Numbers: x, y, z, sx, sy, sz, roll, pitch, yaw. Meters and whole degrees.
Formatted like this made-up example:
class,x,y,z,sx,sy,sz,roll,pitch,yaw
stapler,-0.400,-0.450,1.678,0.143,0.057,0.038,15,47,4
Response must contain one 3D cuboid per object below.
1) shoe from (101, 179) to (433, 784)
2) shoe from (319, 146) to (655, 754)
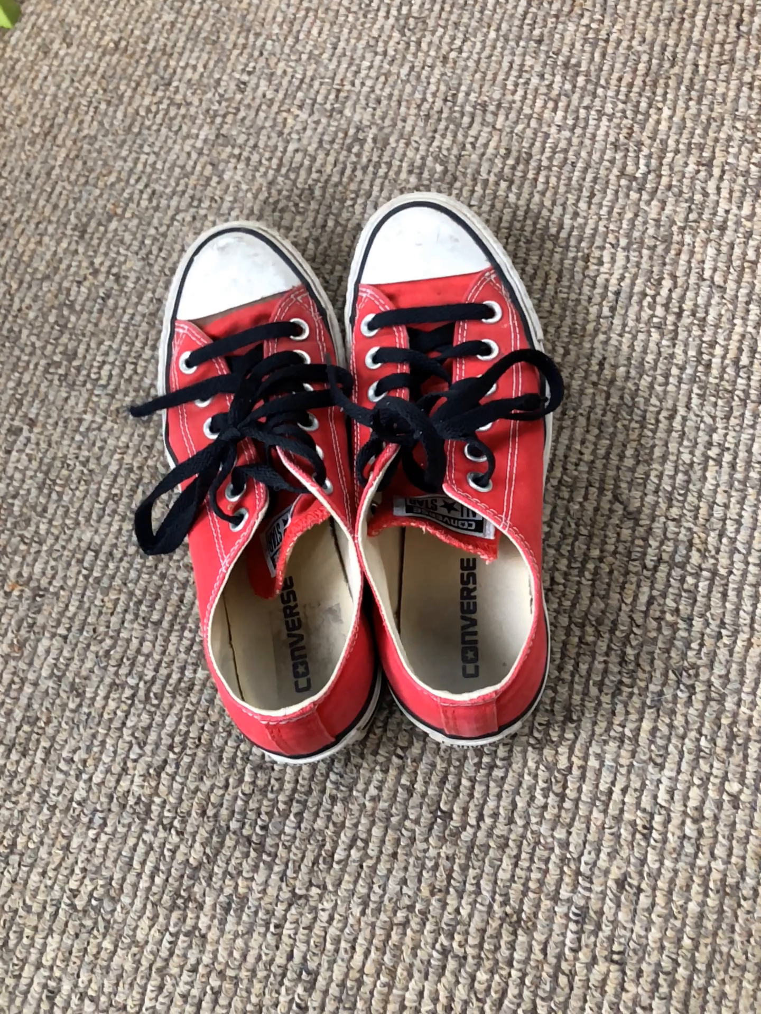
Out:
class,x,y,z,sx,sy,sz,roll,pitch,yaw
shoe,-0.055,-0.011,0.412,0.102,0.097,0.262,-13,71,3
shoe,0.041,-0.025,0.395,0.102,0.089,0.259,-8,71,4
